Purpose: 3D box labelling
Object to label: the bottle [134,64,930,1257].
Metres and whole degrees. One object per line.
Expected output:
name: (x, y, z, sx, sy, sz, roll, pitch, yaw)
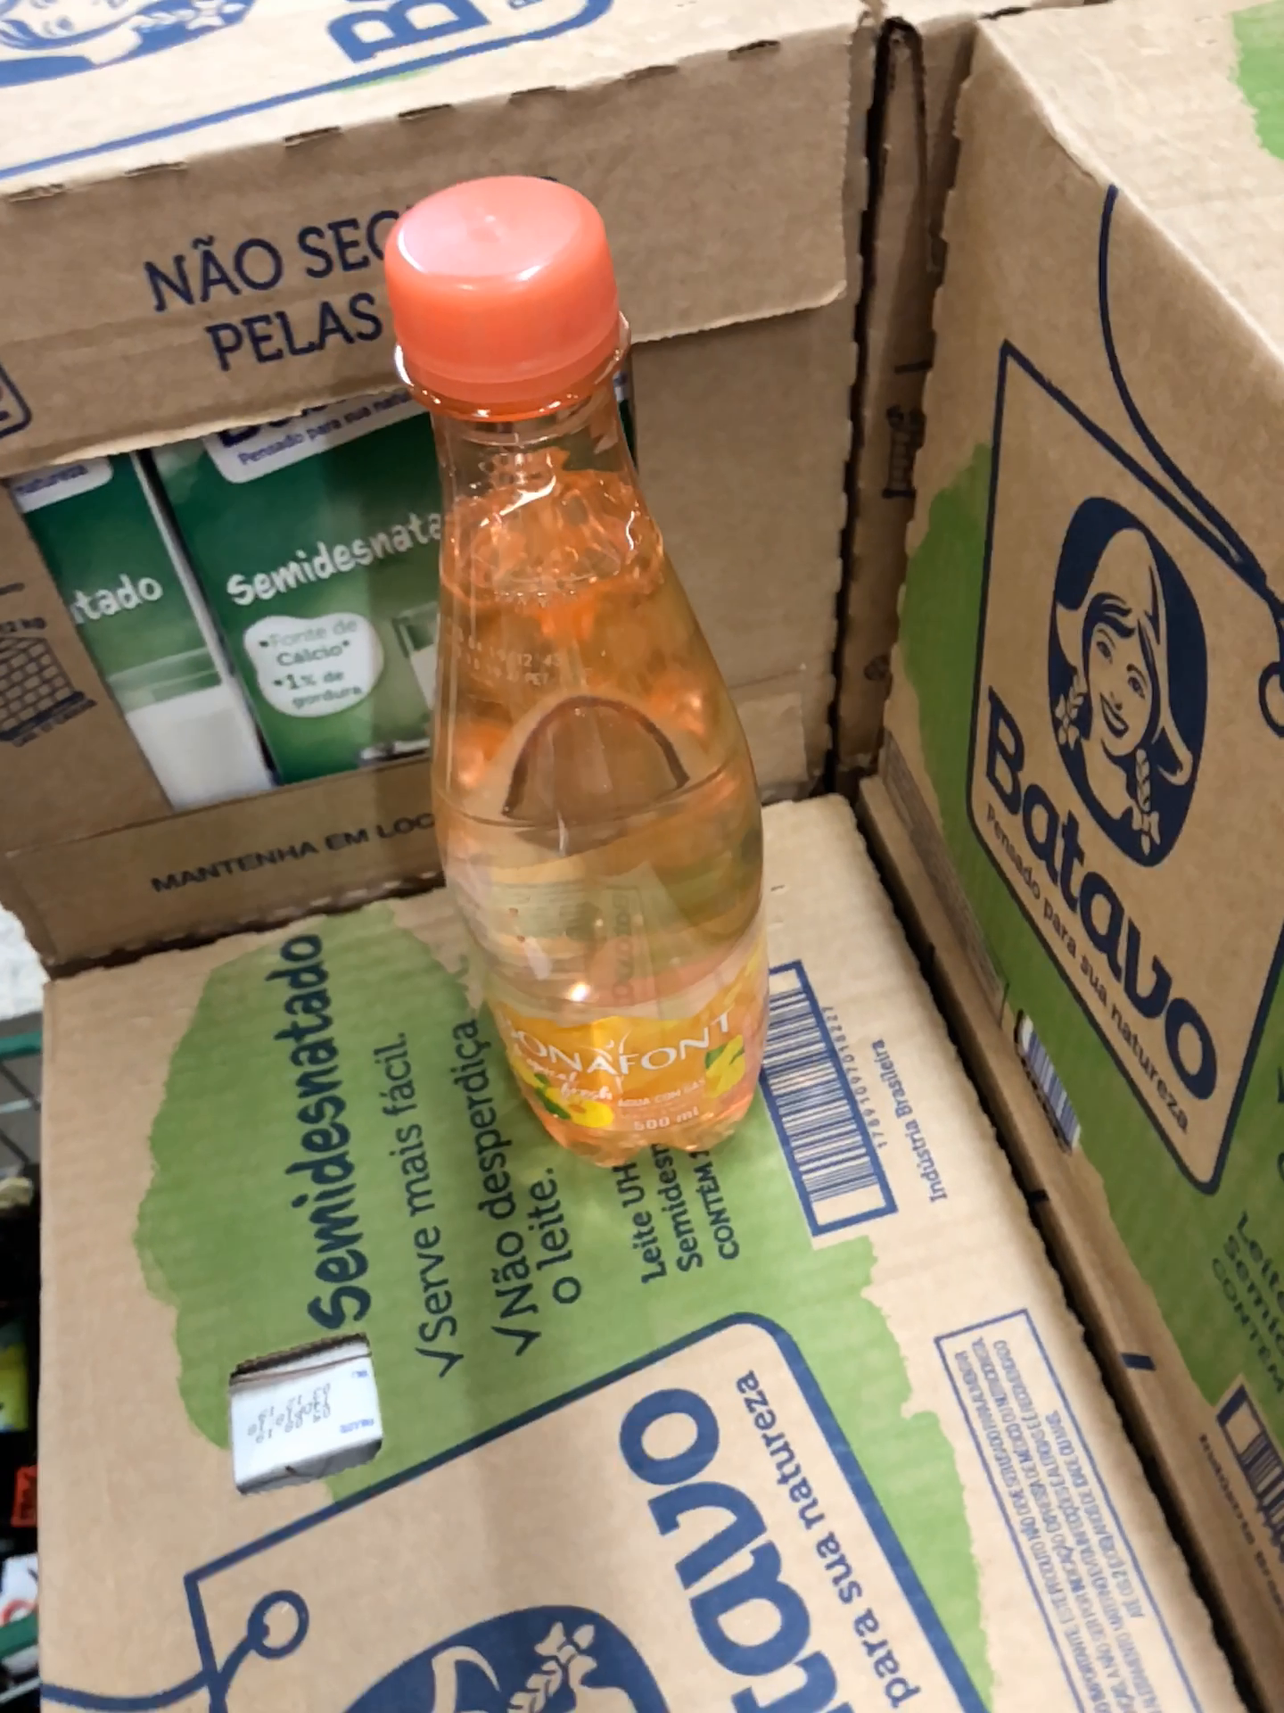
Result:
bottle: (-0.005, -0.012, 0.273, 0.080, 0.229, 0.070, 15, 56, 15)
